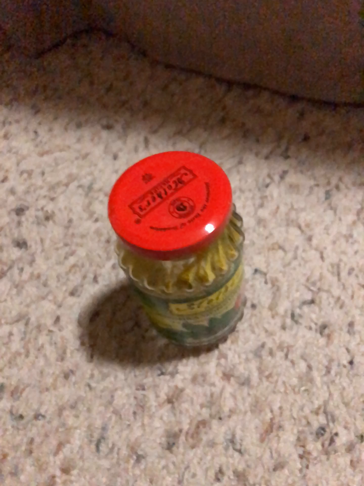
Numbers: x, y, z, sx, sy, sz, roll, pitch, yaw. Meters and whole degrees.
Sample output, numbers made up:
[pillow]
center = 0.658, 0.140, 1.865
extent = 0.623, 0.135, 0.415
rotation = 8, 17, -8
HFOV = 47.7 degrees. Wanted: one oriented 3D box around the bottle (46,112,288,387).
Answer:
[bottle]
center = -0.002, 0.011, 0.210
extent = 0.070, 0.110, 0.070
rotation = -4, 58, 6
